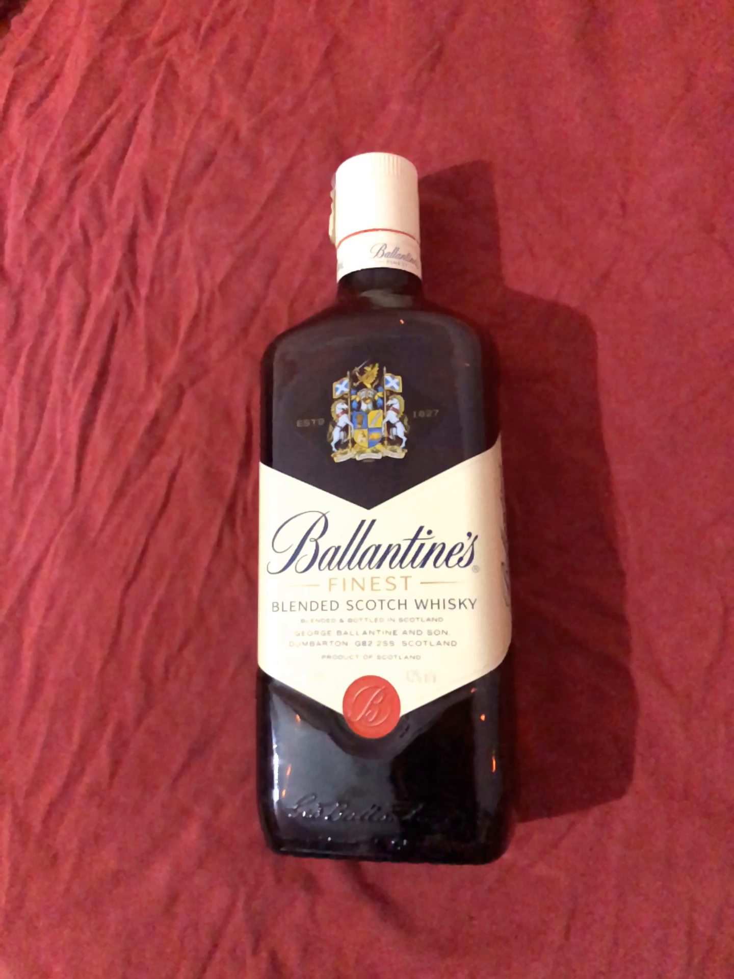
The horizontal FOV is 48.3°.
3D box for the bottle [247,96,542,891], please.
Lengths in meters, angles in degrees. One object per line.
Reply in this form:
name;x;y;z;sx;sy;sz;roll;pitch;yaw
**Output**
bottle;0.009;-0.002;0.288;0.090;0.050;0.250;-2;83;10
